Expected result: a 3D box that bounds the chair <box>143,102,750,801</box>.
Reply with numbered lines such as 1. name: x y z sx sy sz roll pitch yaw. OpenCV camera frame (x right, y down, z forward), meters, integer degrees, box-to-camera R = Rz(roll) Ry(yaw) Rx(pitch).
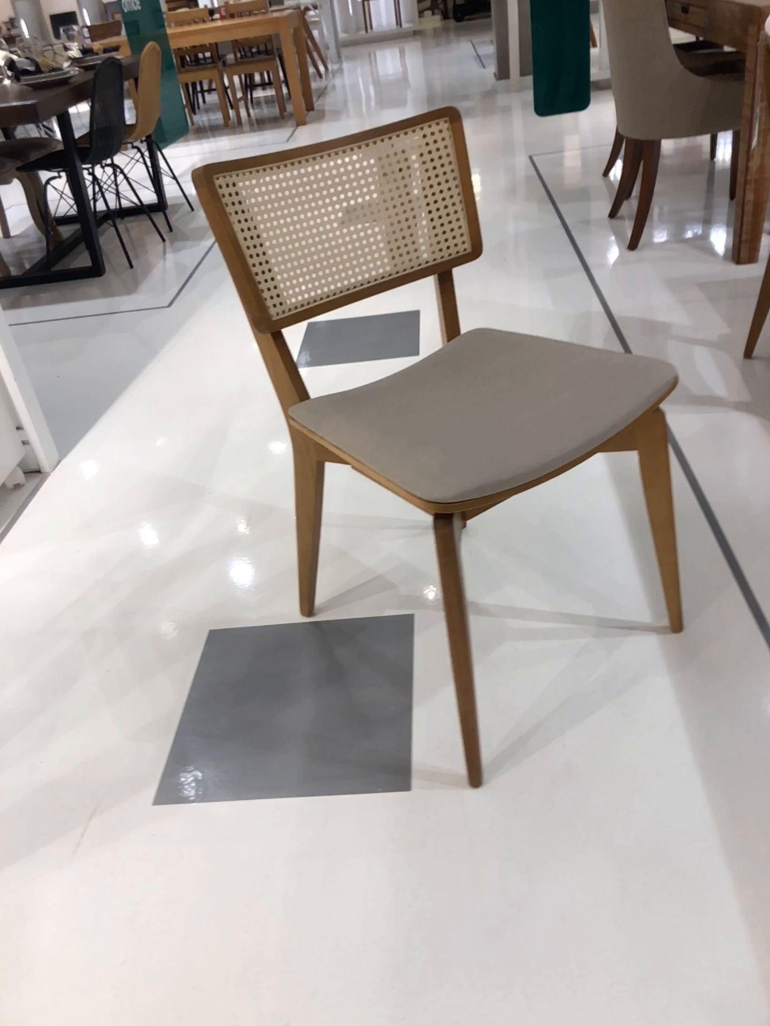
1. chair: 0.098 -0.149 1.323 0.542 0.794 0.603 -27 37 -26
